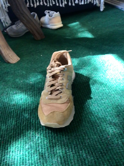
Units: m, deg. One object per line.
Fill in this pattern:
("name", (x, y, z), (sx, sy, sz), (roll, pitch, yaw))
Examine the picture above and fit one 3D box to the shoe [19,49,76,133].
("shoe", (-0.018, 0.004, 0.411), (0.110, 0.099, 0.262), (-2, 39, 9))
